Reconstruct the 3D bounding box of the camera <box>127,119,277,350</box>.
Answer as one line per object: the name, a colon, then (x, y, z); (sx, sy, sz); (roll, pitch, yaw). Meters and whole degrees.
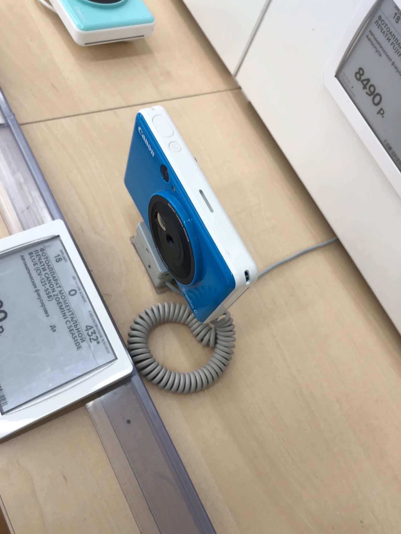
camera: (-0.006, -0.017, 0.271); (0.025, 0.072, 0.119); (-21, 73, -22)
